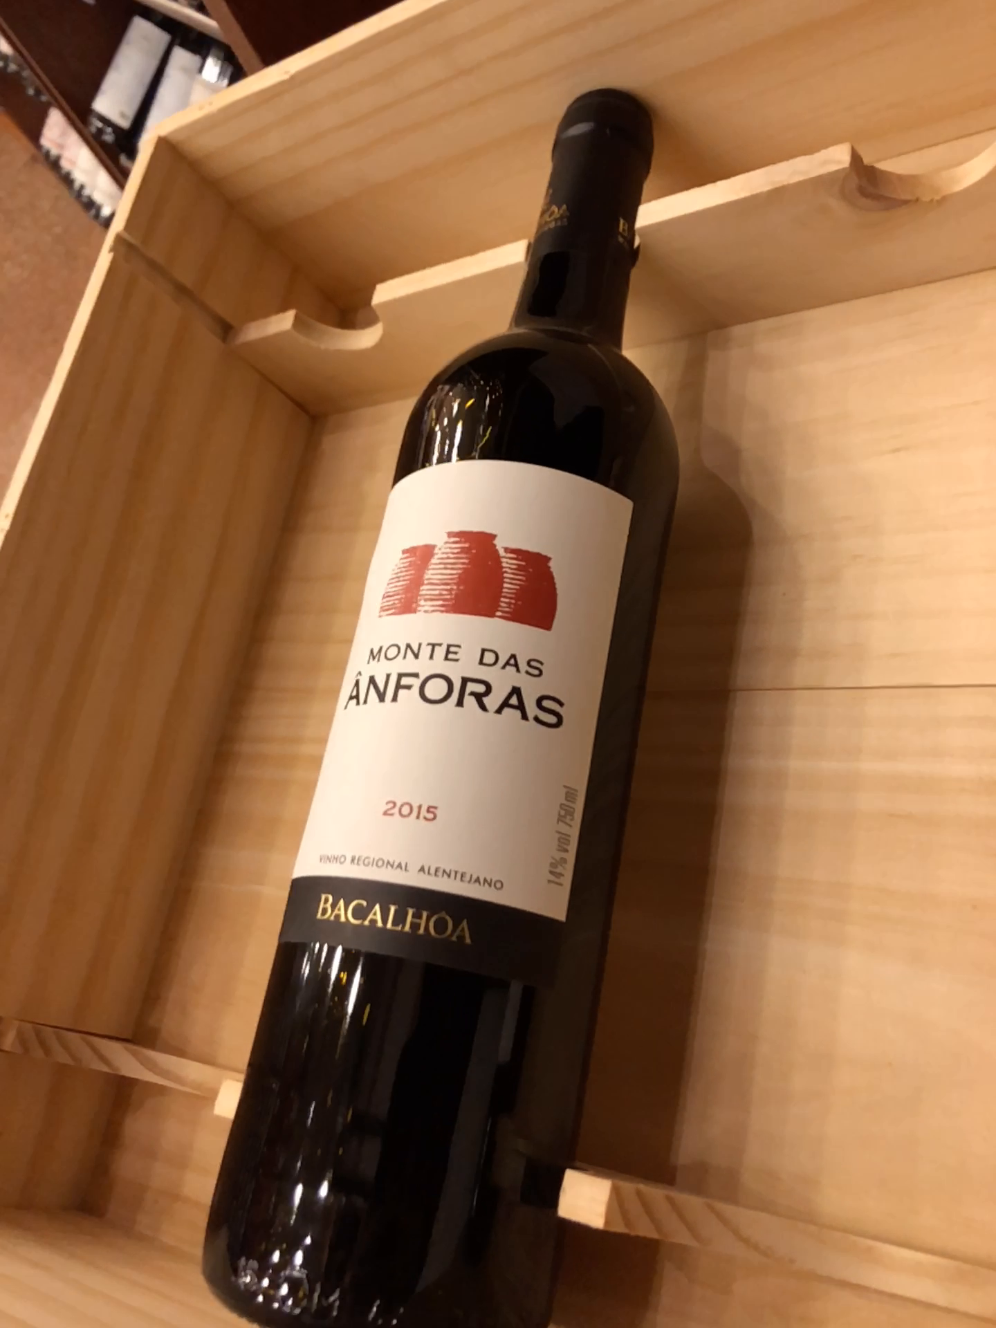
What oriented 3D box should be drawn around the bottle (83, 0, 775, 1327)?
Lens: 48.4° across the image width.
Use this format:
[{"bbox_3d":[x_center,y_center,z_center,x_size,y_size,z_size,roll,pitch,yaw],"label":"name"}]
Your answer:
[{"bbox_3d":[-0.002,-0.015,0.267,0.080,0.060,0.320,-1,69,35],"label":"bottle"}]
